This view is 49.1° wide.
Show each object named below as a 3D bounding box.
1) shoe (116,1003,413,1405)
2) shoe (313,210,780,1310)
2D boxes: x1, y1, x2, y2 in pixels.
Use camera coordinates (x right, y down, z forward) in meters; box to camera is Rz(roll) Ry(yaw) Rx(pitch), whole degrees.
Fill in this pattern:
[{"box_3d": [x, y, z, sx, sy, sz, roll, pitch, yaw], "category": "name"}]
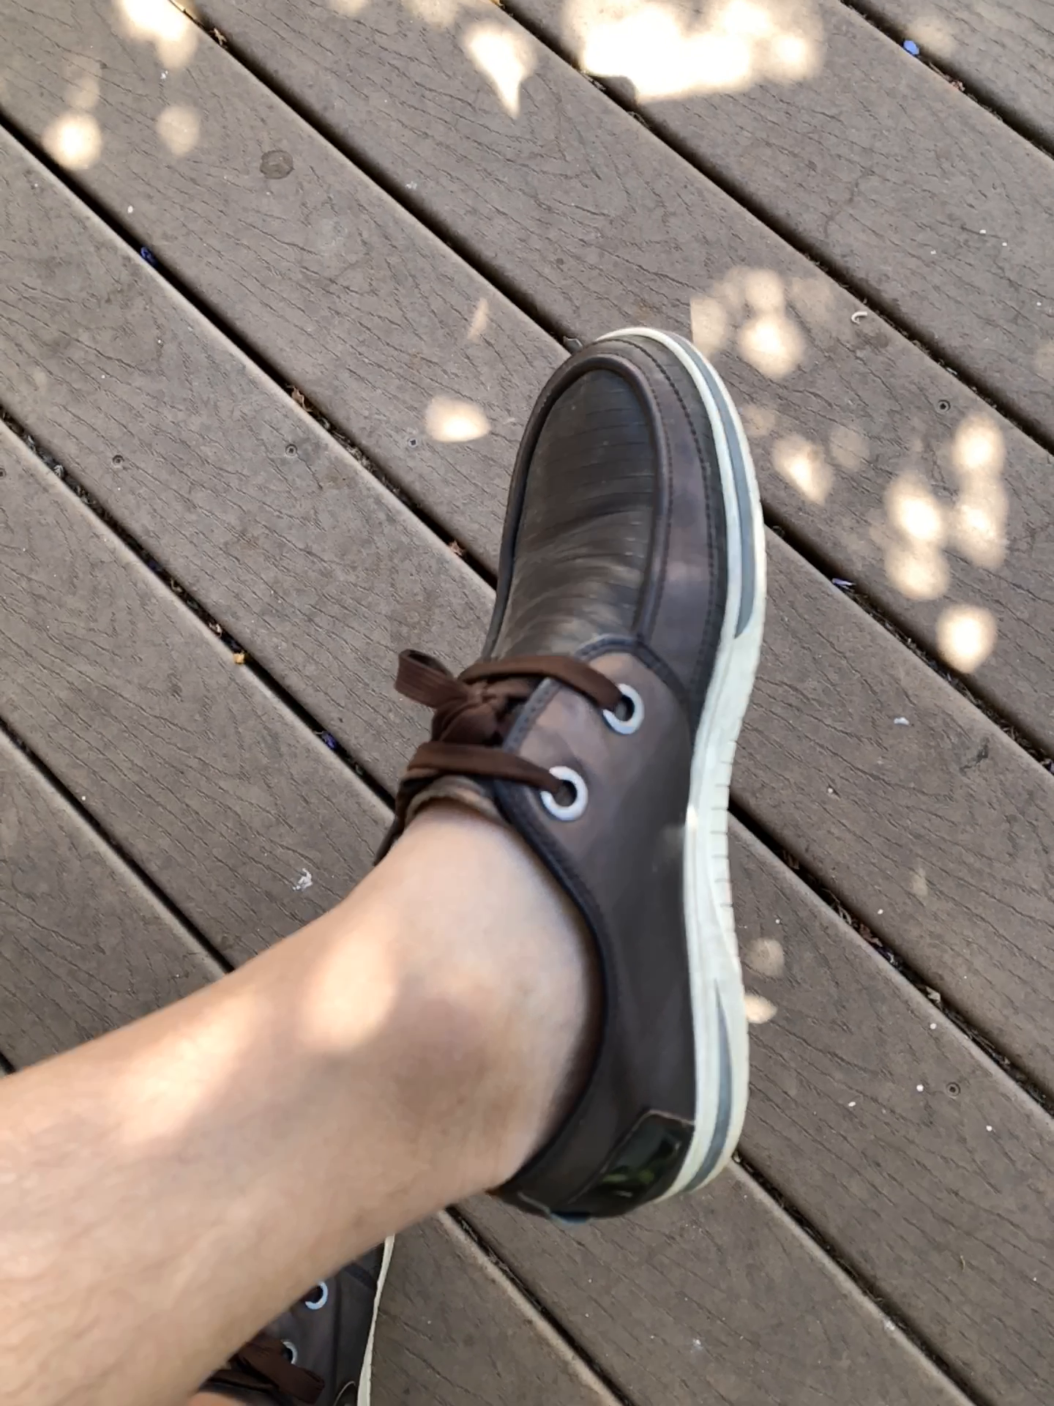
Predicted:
[{"box_3d": [-0.131, 0.296, 0.607, 0.103, 0.099, 0.245, 4, 86, 7], "category": "shoe"}, {"box_3d": [0.006, 0.013, 0.329, 0.090, 0.083, 0.255, -2, 84, 51], "category": "shoe"}]
